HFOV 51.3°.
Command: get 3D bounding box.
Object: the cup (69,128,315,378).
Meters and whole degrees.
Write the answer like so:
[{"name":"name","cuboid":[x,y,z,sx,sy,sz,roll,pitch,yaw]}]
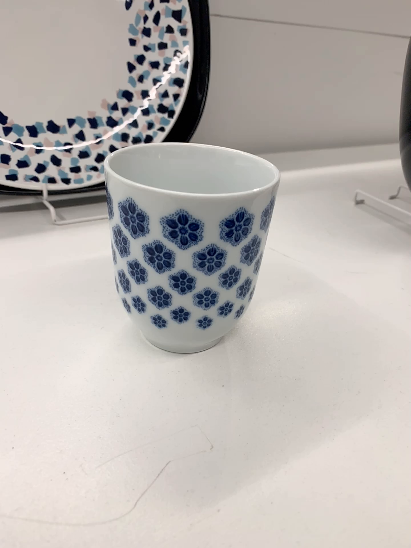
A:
[{"name":"cup","cuboid":[-0.005,-0.017,0.201,0.080,0.080,0.070,18,31,25]}]
